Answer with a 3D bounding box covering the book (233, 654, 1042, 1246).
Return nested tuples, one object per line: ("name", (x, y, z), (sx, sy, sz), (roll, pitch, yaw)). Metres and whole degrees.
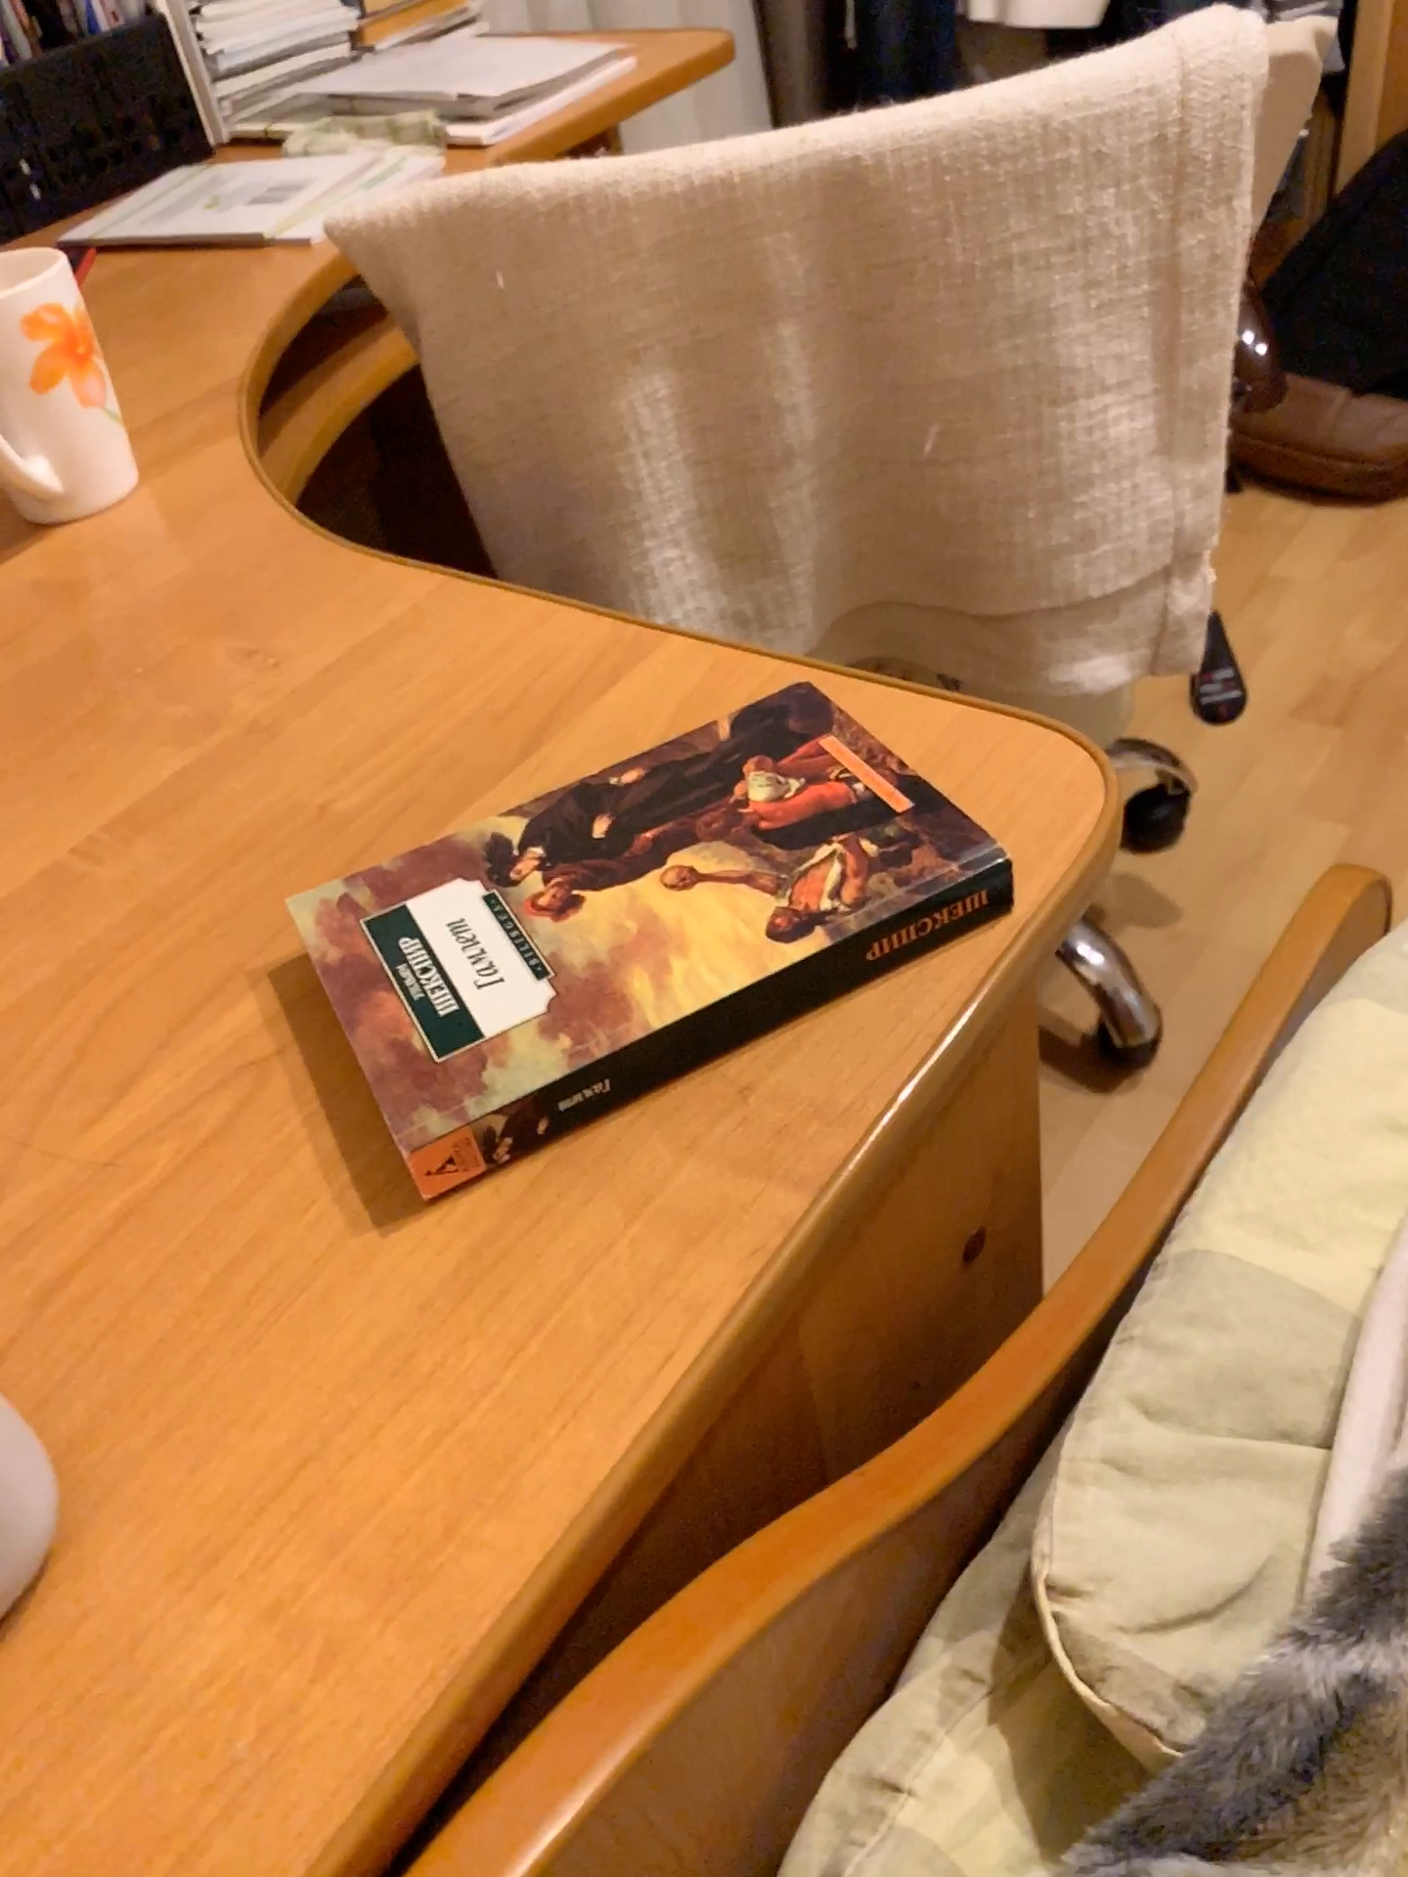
("book", (-0.021, -0.009, 0.404), (0.190, 0.030, 0.121), (-24, 42, -14))
